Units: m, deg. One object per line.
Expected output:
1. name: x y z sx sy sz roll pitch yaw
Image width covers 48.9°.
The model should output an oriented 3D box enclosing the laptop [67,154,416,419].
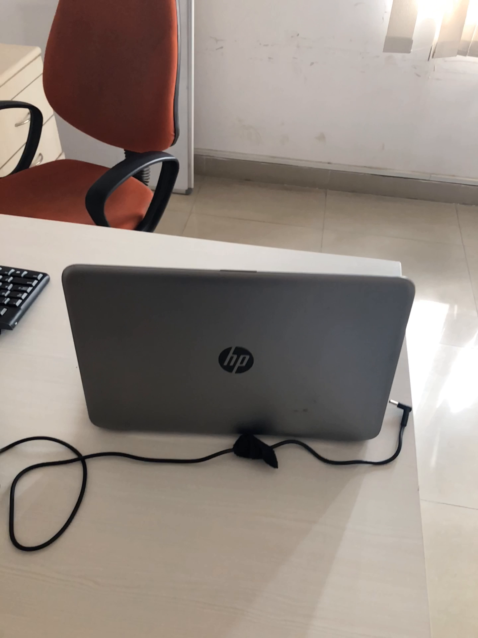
1. laptop: 0.003 -0.041 0.677 0.350 0.226 0.217 3 48 2
